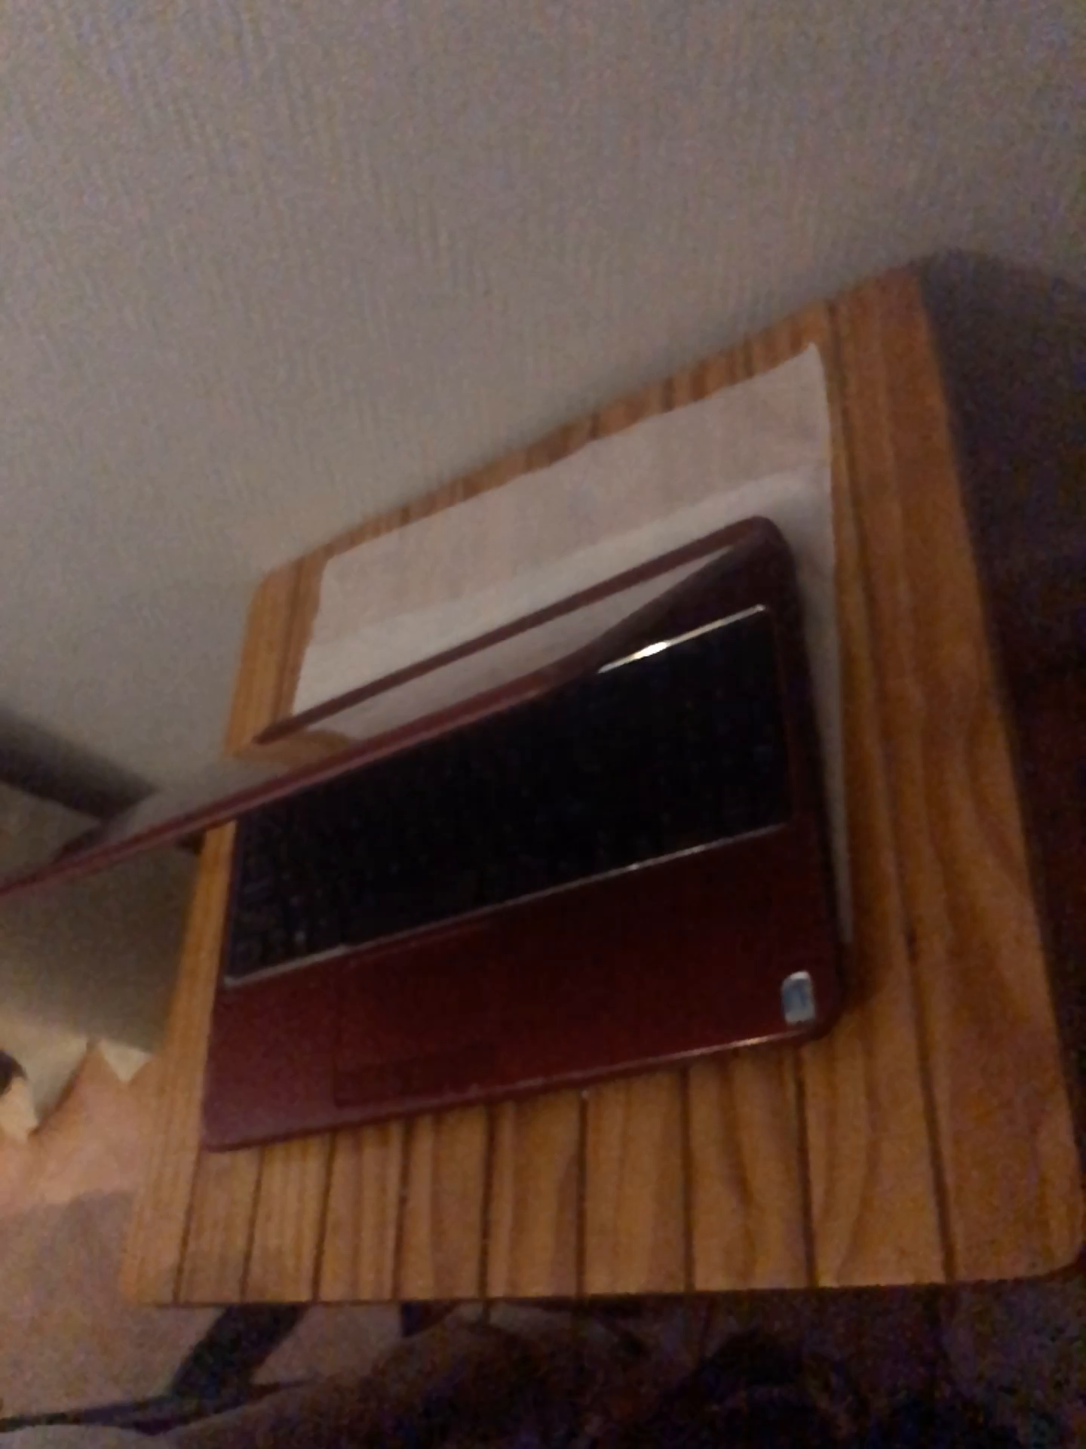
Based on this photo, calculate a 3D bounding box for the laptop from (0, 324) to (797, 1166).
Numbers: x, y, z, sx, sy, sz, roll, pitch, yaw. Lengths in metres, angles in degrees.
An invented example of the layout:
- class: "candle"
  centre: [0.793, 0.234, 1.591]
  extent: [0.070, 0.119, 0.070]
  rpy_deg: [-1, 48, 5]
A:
- class: "laptop"
  centre: [-0.102, 0.034, 0.589]
  extent: [0.373, 0.168, 0.254]
  rpy_deg: [-21, 52, 27]
